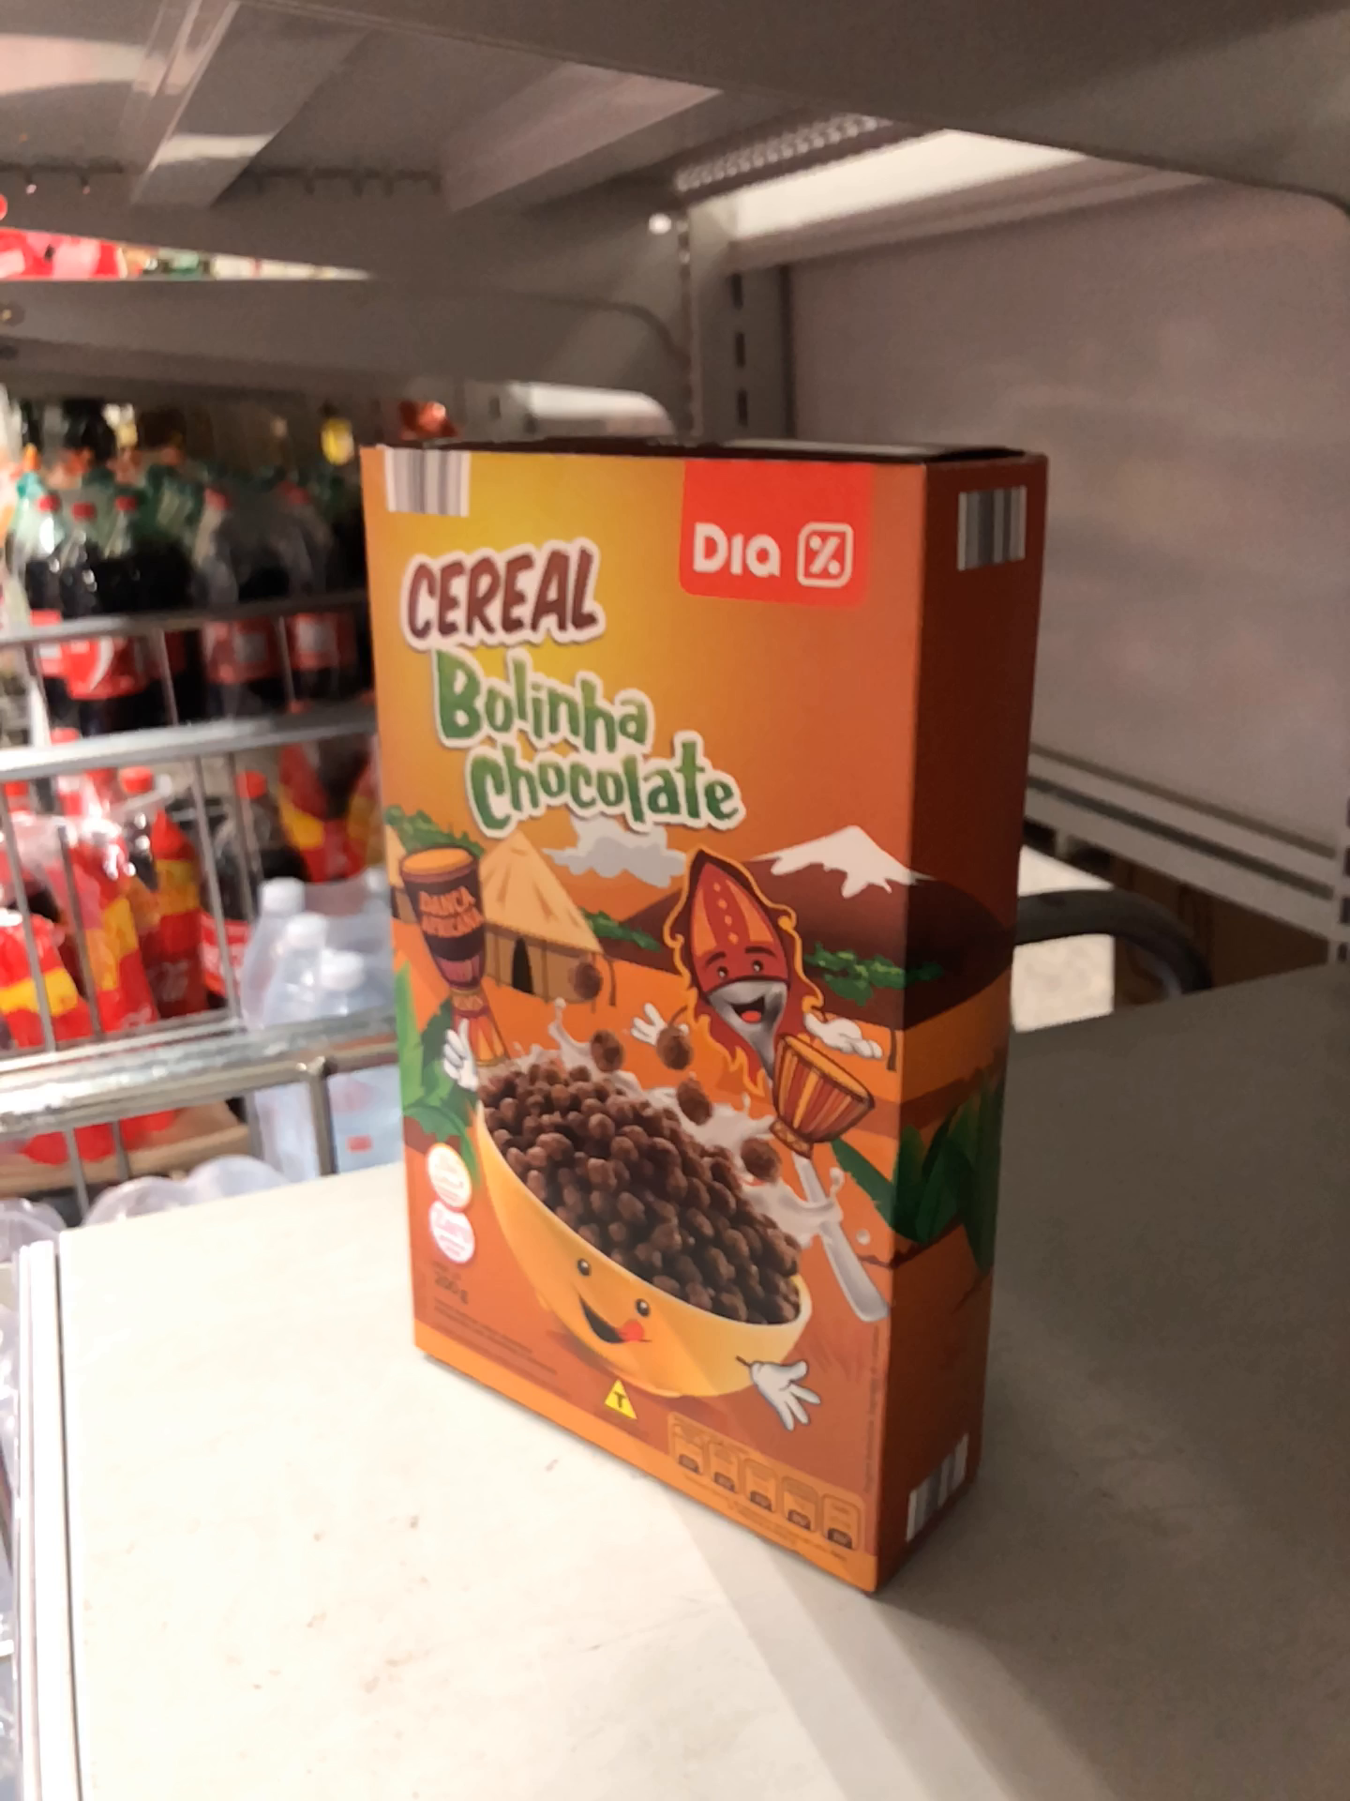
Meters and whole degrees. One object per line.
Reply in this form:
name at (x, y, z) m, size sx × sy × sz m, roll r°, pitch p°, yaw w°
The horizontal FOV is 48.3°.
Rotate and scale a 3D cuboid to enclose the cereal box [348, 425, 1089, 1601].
cereal box at (0.000, 0.016, 0.388) m, size 0.170 × 0.259 × 0.060 m, roll 14°, pitch 21°, yaw 35°
